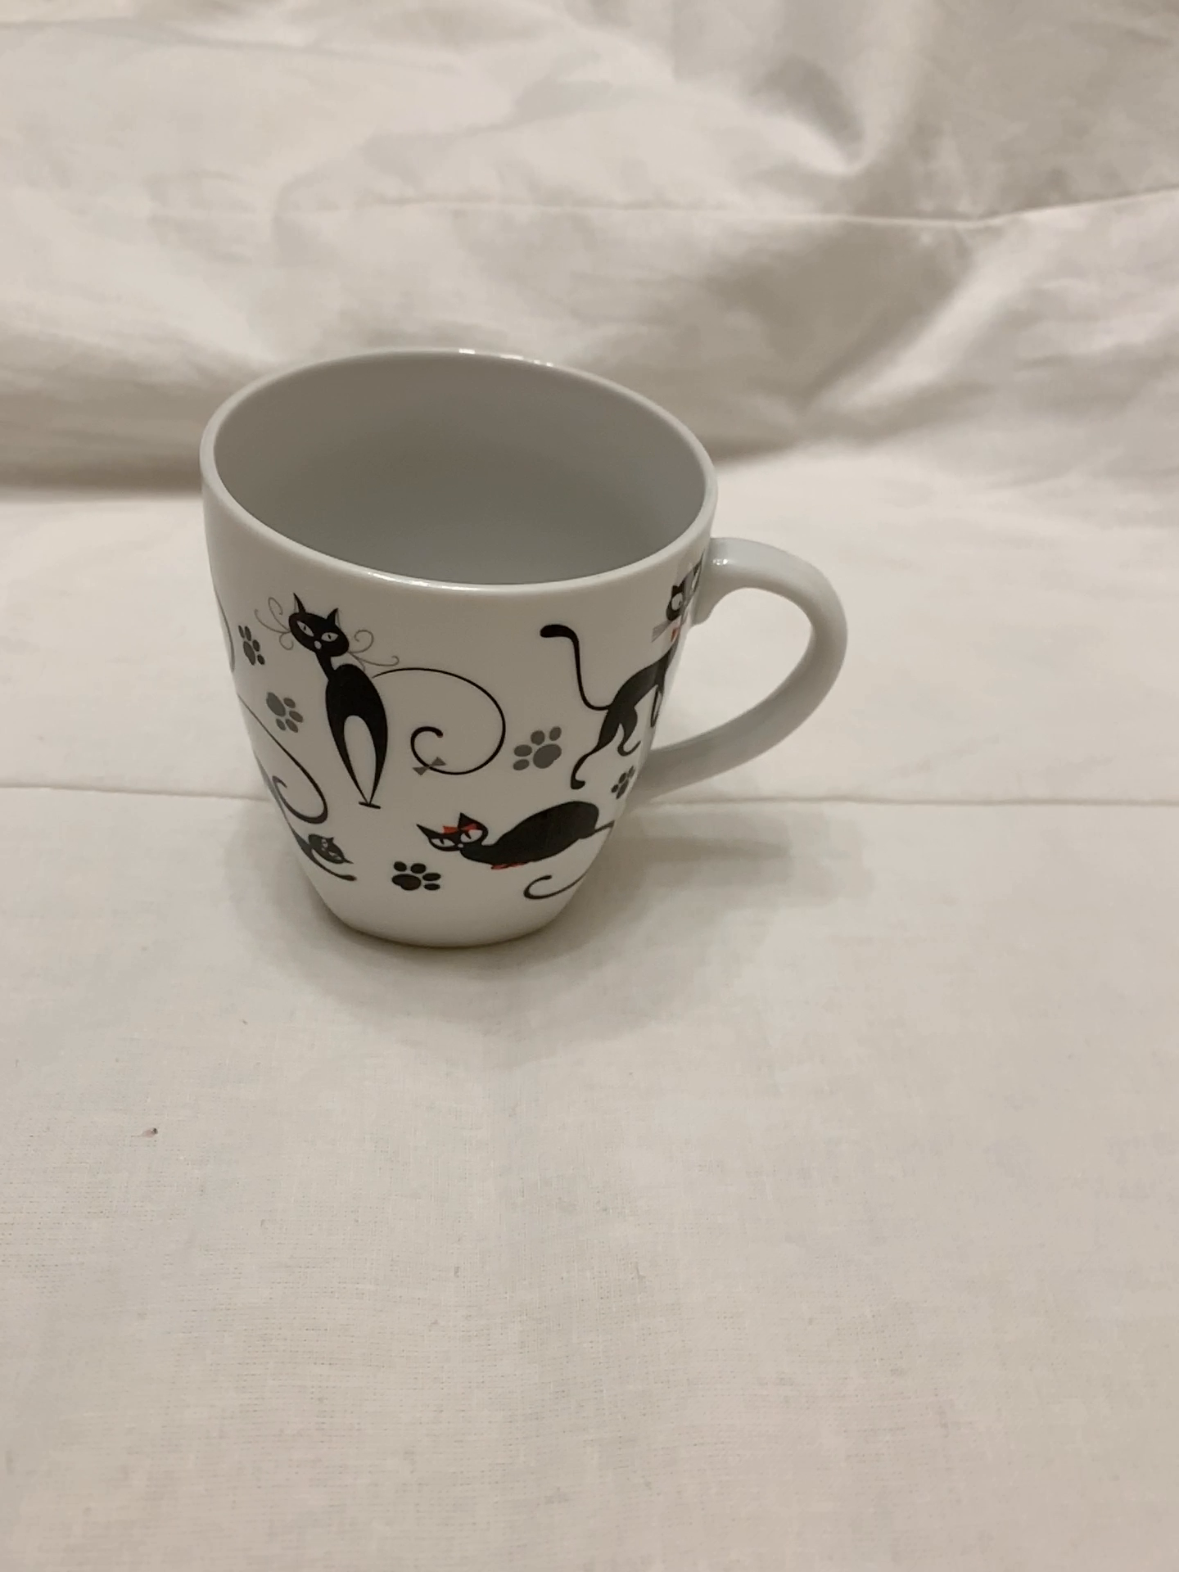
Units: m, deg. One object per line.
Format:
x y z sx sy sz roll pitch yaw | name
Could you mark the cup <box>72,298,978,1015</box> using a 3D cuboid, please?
-0.007 -0.024 0.215 0.118 0.077 0.081 8 43 2 | cup
